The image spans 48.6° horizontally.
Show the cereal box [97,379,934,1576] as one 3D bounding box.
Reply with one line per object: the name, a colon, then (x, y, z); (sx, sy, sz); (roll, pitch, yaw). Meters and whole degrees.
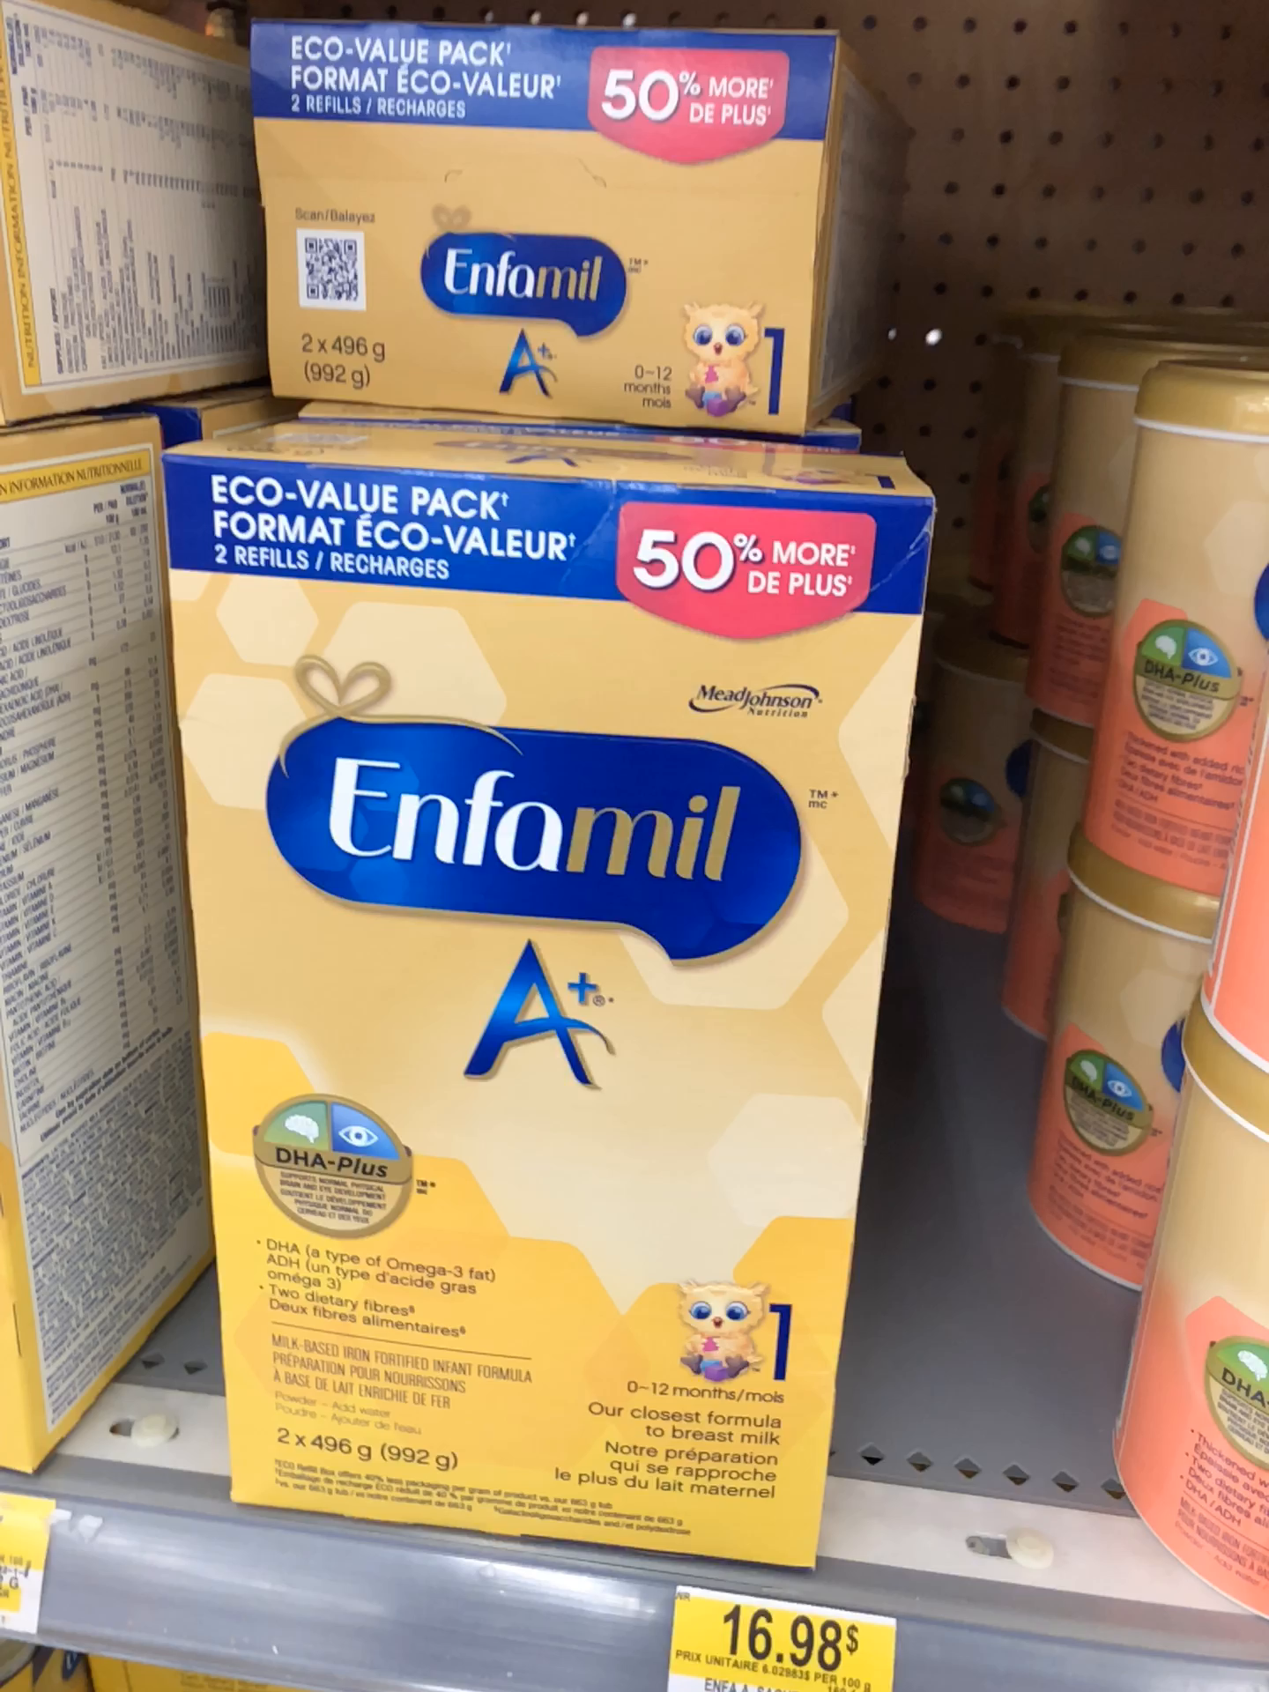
cereal box: (-0.024, 0.032, 0.331); (0.150, 0.258, 0.081); (4, 20, 4)
